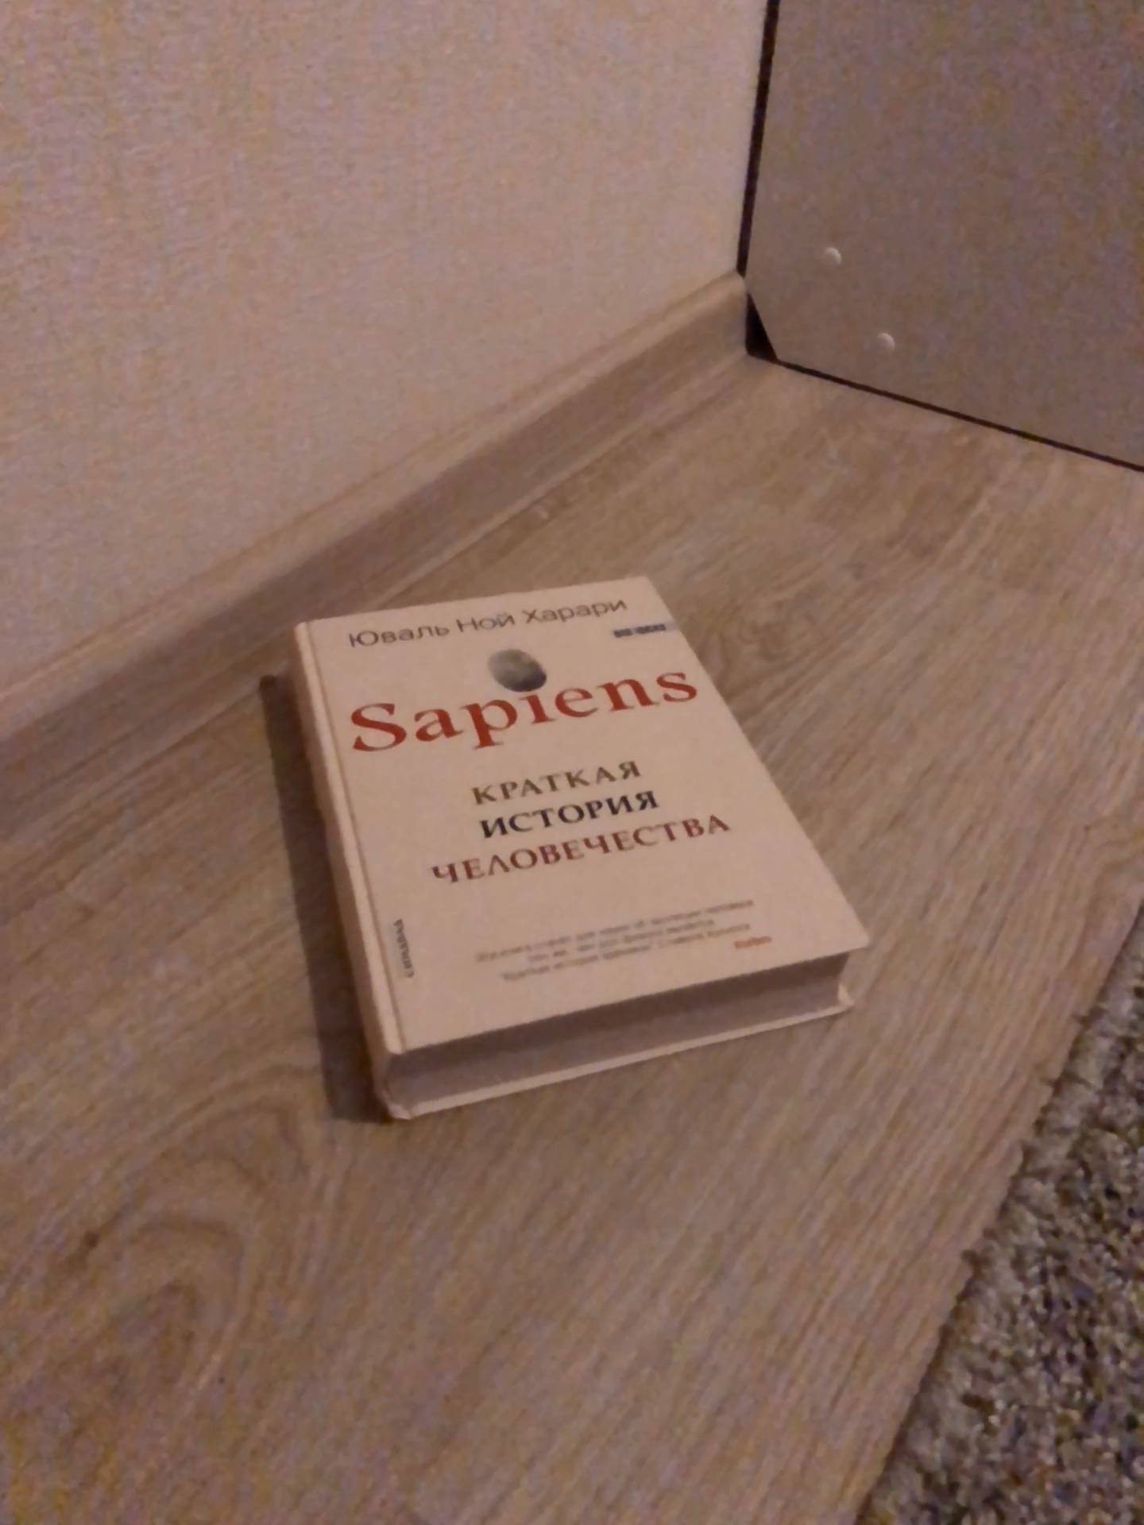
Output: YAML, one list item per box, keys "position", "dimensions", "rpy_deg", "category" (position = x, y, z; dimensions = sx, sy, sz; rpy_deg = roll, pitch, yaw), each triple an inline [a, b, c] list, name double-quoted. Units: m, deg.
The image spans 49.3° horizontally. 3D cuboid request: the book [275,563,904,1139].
- position: [-0.012, 0.013, 0.514]
  dimensions: [0.187, 0.040, 0.259]
  rpy_deg: [-9, 41, -13]
  category: "book"
